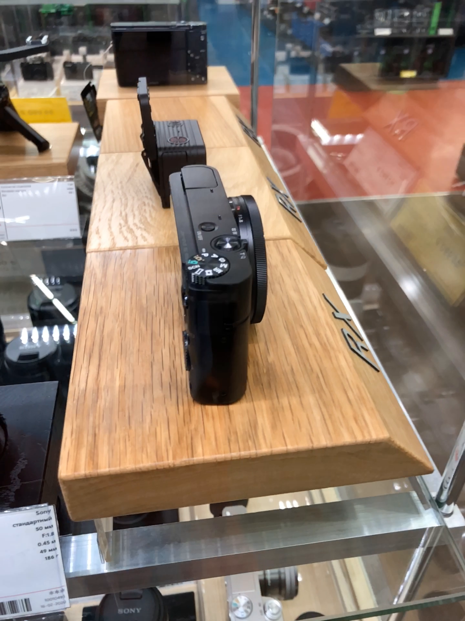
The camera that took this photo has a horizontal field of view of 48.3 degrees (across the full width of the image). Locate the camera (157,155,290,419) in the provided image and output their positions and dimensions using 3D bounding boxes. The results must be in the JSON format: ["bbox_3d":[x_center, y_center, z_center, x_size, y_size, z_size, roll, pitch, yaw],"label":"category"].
[{"bbox_3d":[-0.009,-0.017,0.226,0.037,0.062,0.107,-5,38,-8],"label":"camera"}]
